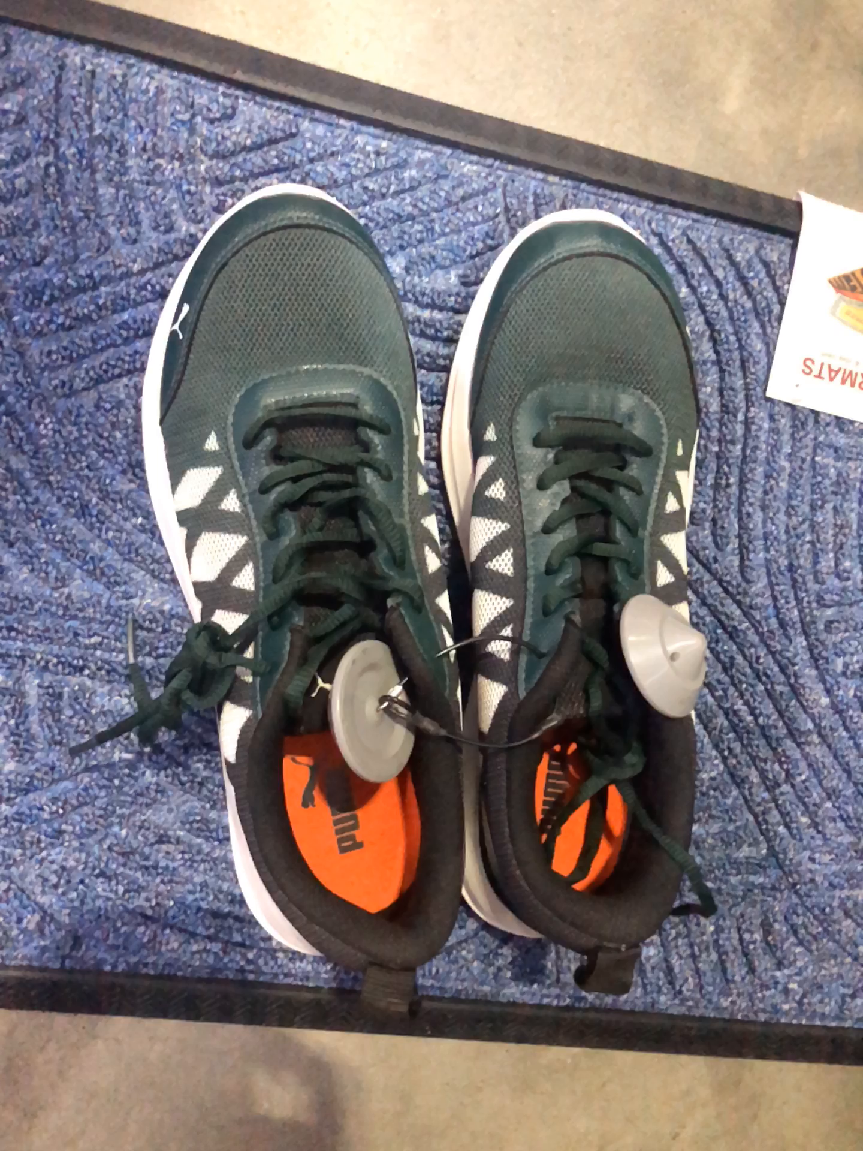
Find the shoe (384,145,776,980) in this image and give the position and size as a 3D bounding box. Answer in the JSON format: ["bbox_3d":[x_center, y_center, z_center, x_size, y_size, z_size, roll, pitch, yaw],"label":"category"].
[{"bbox_3d":[0.055,-0.001,0.373,0.120,0.060,0.290,4,90,-12],"label":"shoe"}]

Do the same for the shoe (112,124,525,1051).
[{"bbox_3d":[-0.042,0.001,0.360,0.110,0.060,0.310,-6,92,-12],"label":"shoe"}]
